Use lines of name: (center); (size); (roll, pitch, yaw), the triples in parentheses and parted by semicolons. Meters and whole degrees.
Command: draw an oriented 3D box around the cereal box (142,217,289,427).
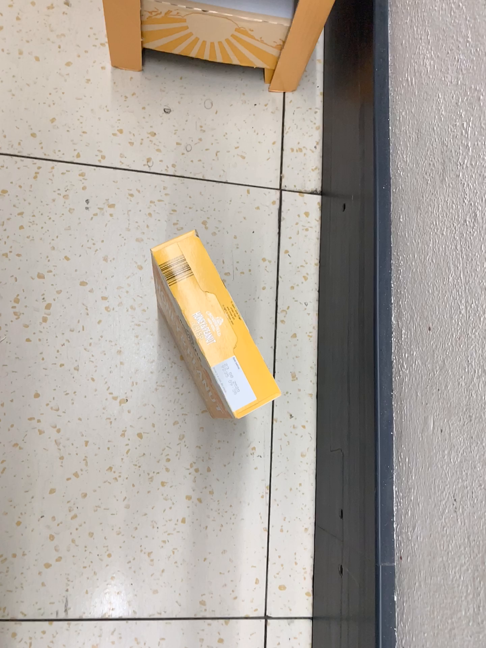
cereal box: (-0.045, 0.018, 0.578); (0.050, 0.269, 0.190); (-27, 85, -12)
